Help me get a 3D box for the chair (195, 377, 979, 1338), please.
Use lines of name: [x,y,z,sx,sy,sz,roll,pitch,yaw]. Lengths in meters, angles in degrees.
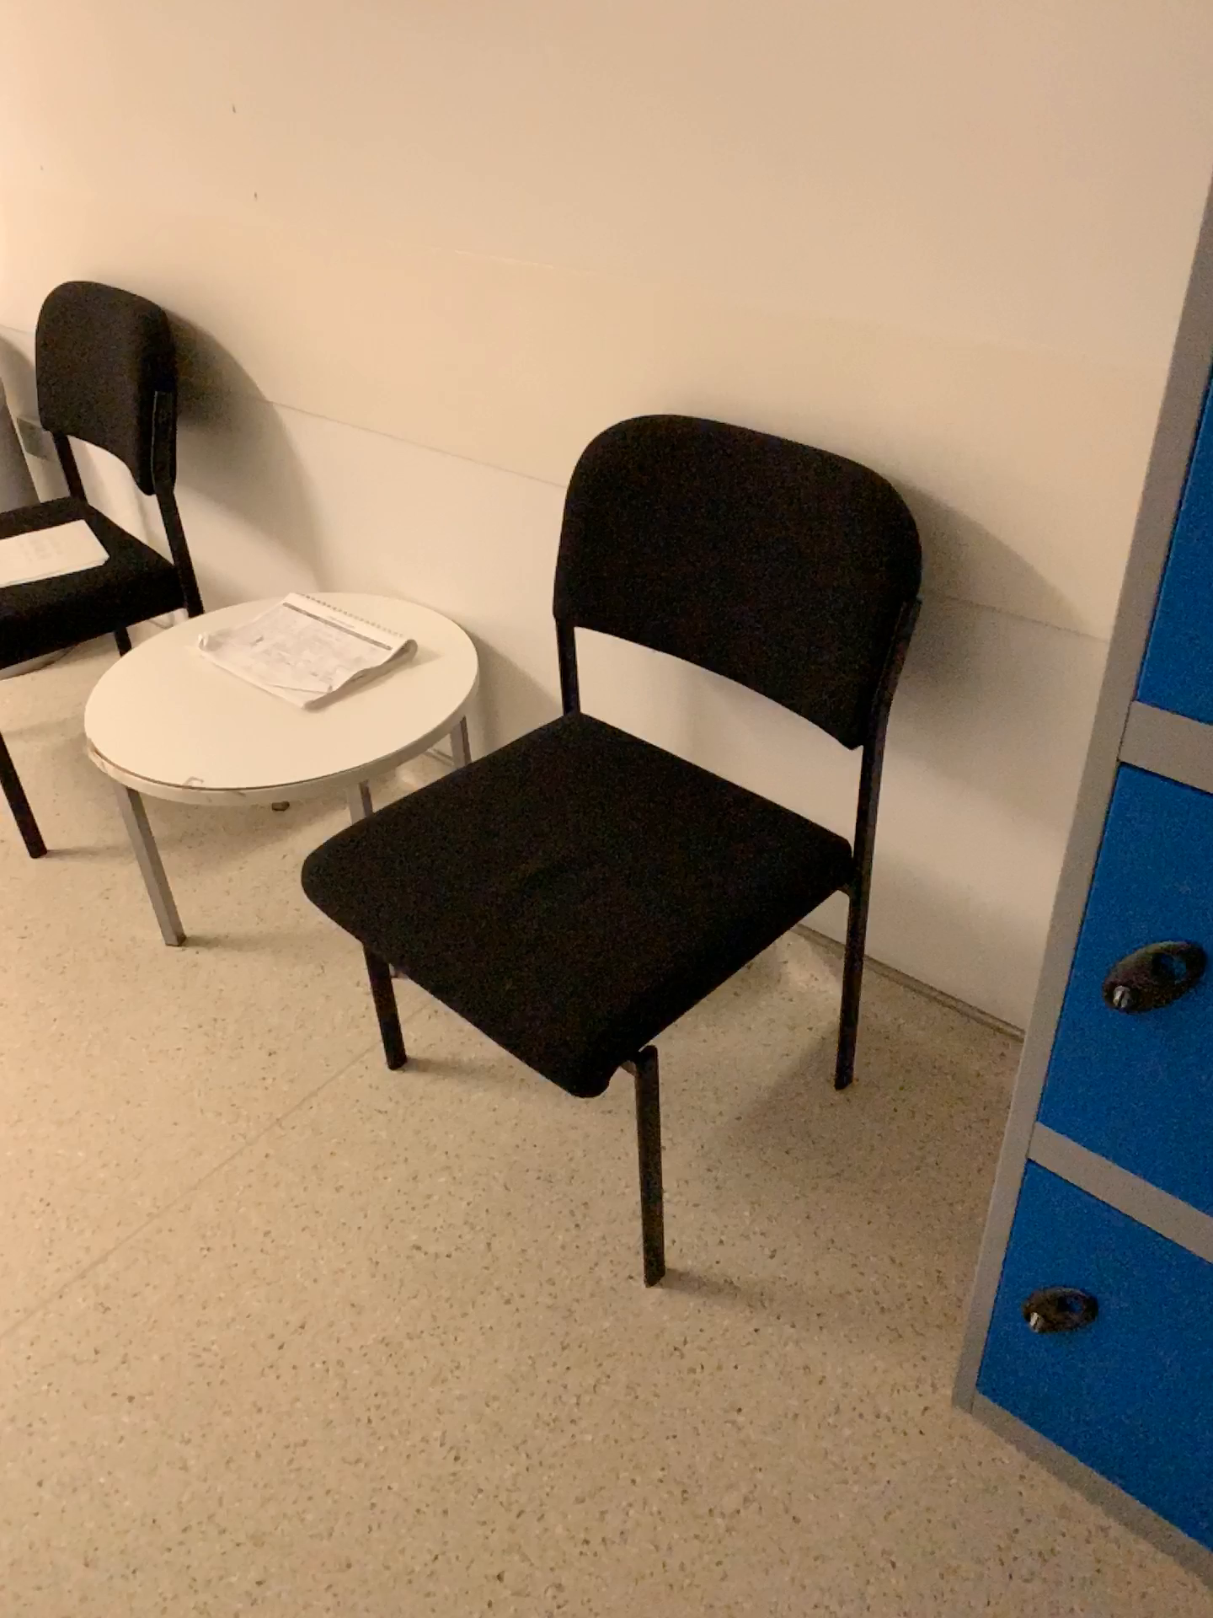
chair: [-0.007,0.024,1.452,0.552,0.824,0.553,-30,44,-34]
